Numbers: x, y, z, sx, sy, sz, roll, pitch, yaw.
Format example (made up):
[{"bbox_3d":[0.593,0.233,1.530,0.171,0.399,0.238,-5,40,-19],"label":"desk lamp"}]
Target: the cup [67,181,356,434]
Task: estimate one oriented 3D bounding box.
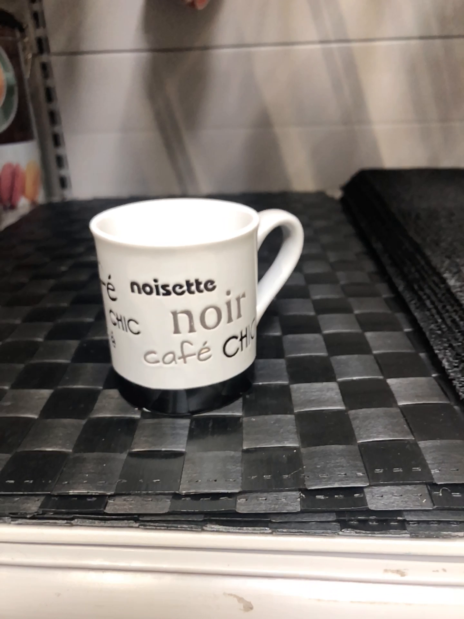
[{"bbox_3d":[-0.009,-0.009,0.218,0.093,0.066,0.068,-15,28,-26],"label":"cup"}]
